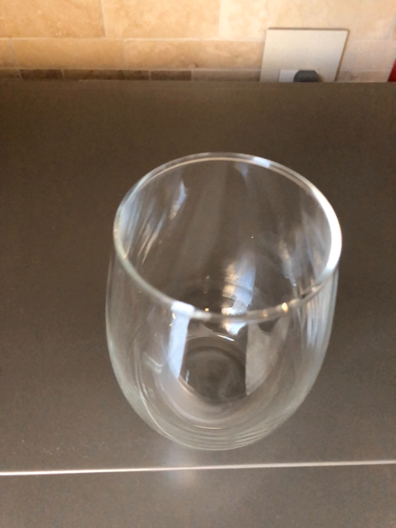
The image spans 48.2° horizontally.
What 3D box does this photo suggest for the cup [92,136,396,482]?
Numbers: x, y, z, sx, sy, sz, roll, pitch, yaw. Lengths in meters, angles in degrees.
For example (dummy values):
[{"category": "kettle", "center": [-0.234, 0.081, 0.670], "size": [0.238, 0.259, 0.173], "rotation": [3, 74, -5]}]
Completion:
[{"category": "cup", "center": [0.007, 0.022, 0.174], "size": [0.078, 0.104, 0.083], "rotation": [1, 51, -1]}]
